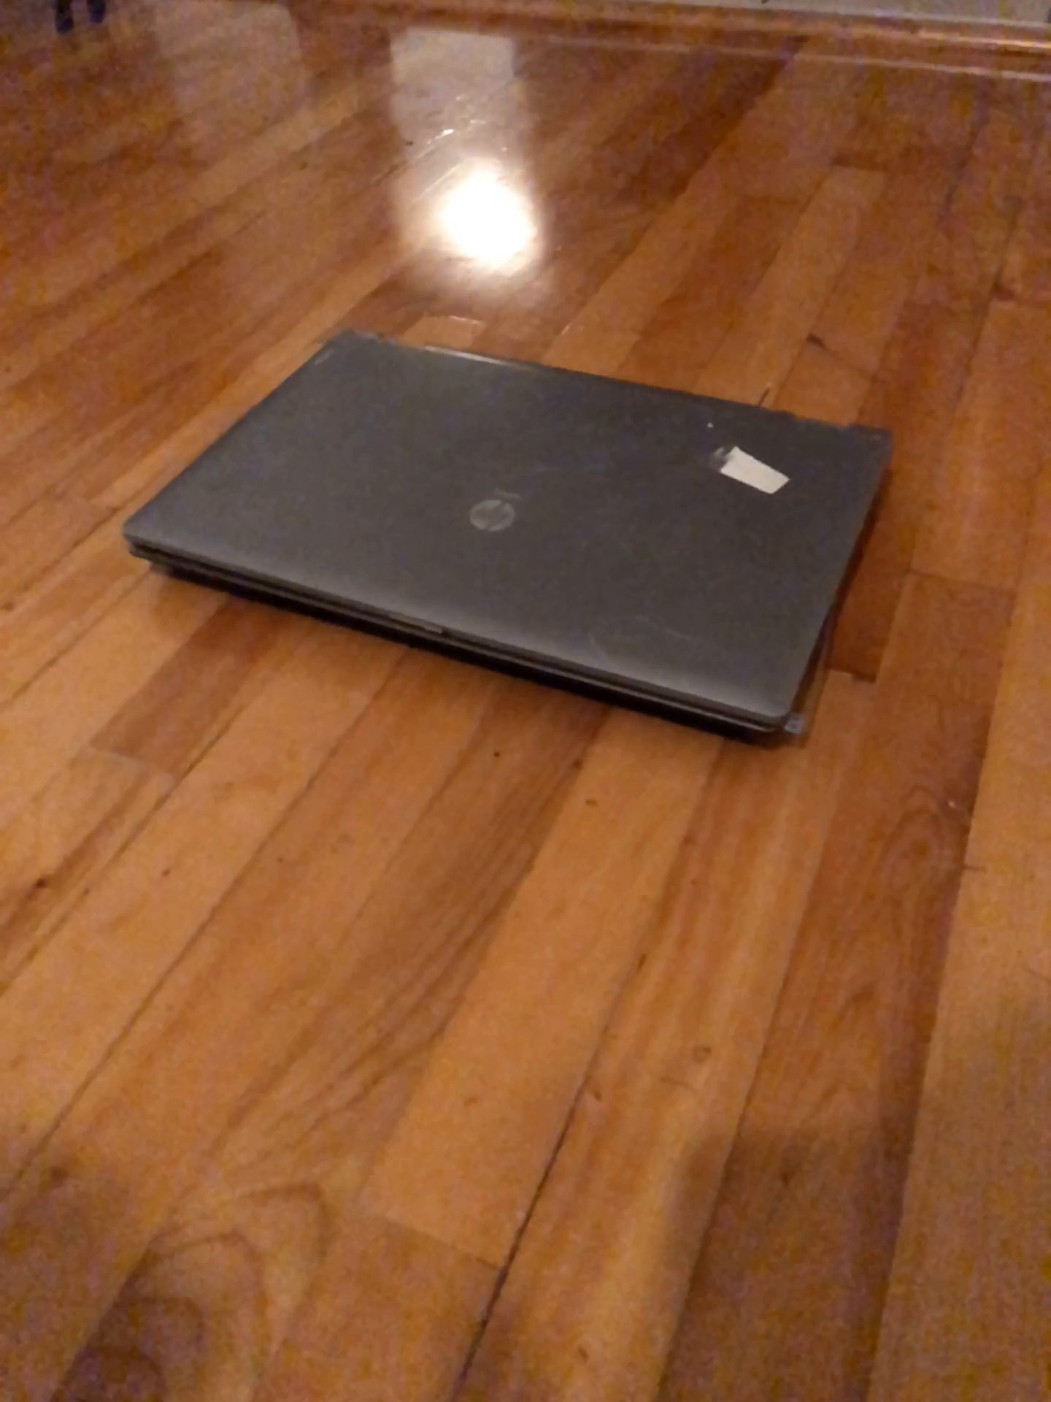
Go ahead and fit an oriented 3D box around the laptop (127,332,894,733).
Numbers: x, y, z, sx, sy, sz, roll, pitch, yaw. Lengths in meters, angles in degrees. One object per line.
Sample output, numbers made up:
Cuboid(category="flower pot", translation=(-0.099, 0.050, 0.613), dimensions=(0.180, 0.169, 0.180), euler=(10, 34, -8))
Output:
Cuboid(category="laptop", translation=(-0.002, -0.117, 0.651), dimensions=(0.363, 0.010, 0.241), euler=(16, 49, 18))
